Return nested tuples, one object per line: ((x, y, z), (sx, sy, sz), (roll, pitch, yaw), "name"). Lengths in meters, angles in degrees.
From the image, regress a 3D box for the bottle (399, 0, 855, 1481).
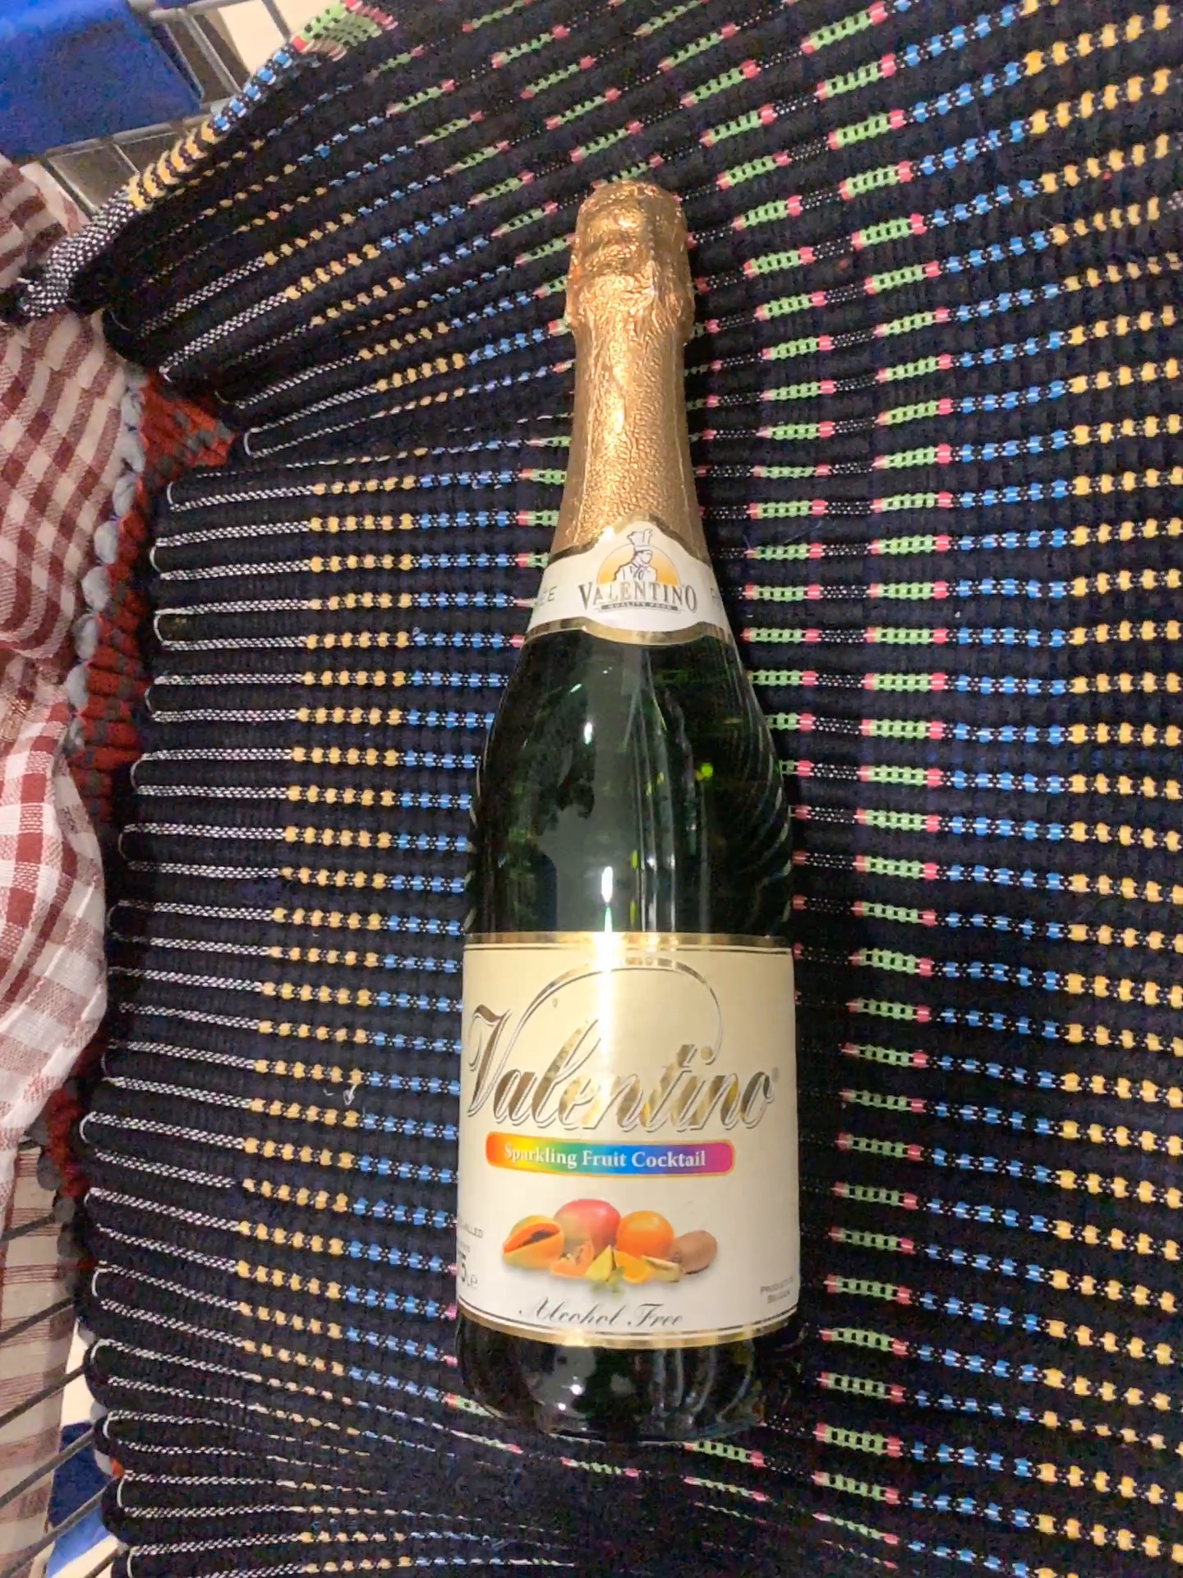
((0.017, -0.033, 0.311), (0.090, 0.080, 0.350), (-1, 79, 14), "bottle")
